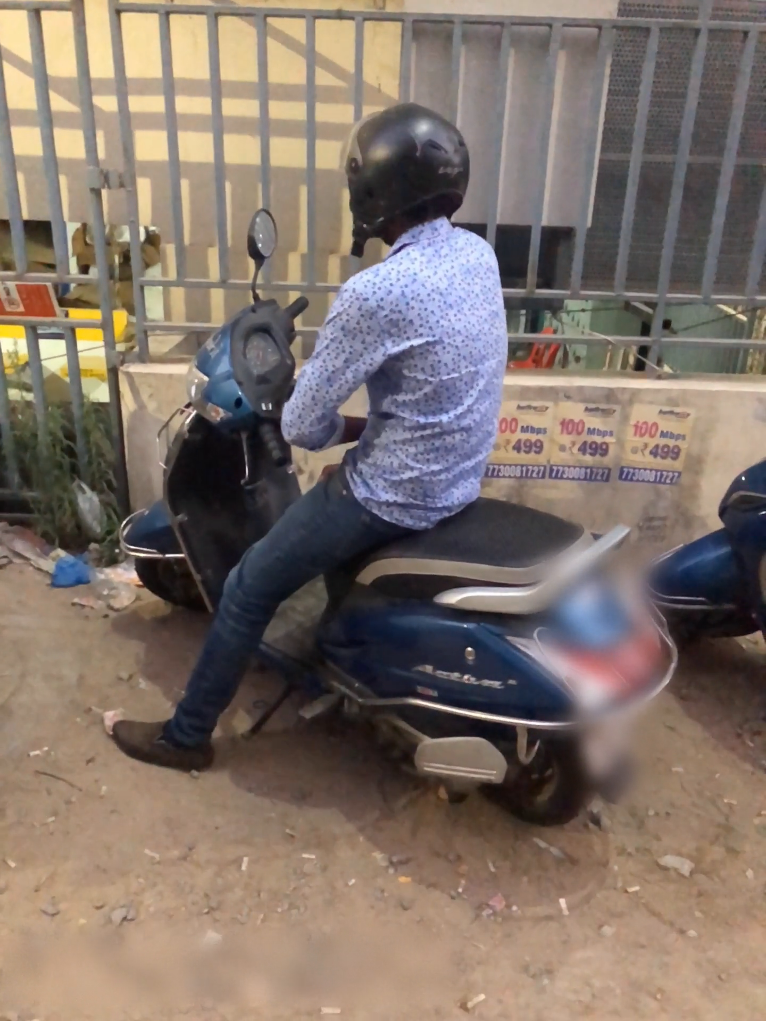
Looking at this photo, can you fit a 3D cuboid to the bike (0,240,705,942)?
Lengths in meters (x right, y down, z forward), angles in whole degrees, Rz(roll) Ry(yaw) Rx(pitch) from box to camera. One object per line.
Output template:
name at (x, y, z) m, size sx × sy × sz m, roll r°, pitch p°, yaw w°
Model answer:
bike at (-0.140, 0.065, 2.096) m, size 1.470 × 1.131 × 0.618 m, roll 19°, pitch 28°, yaw 27°
